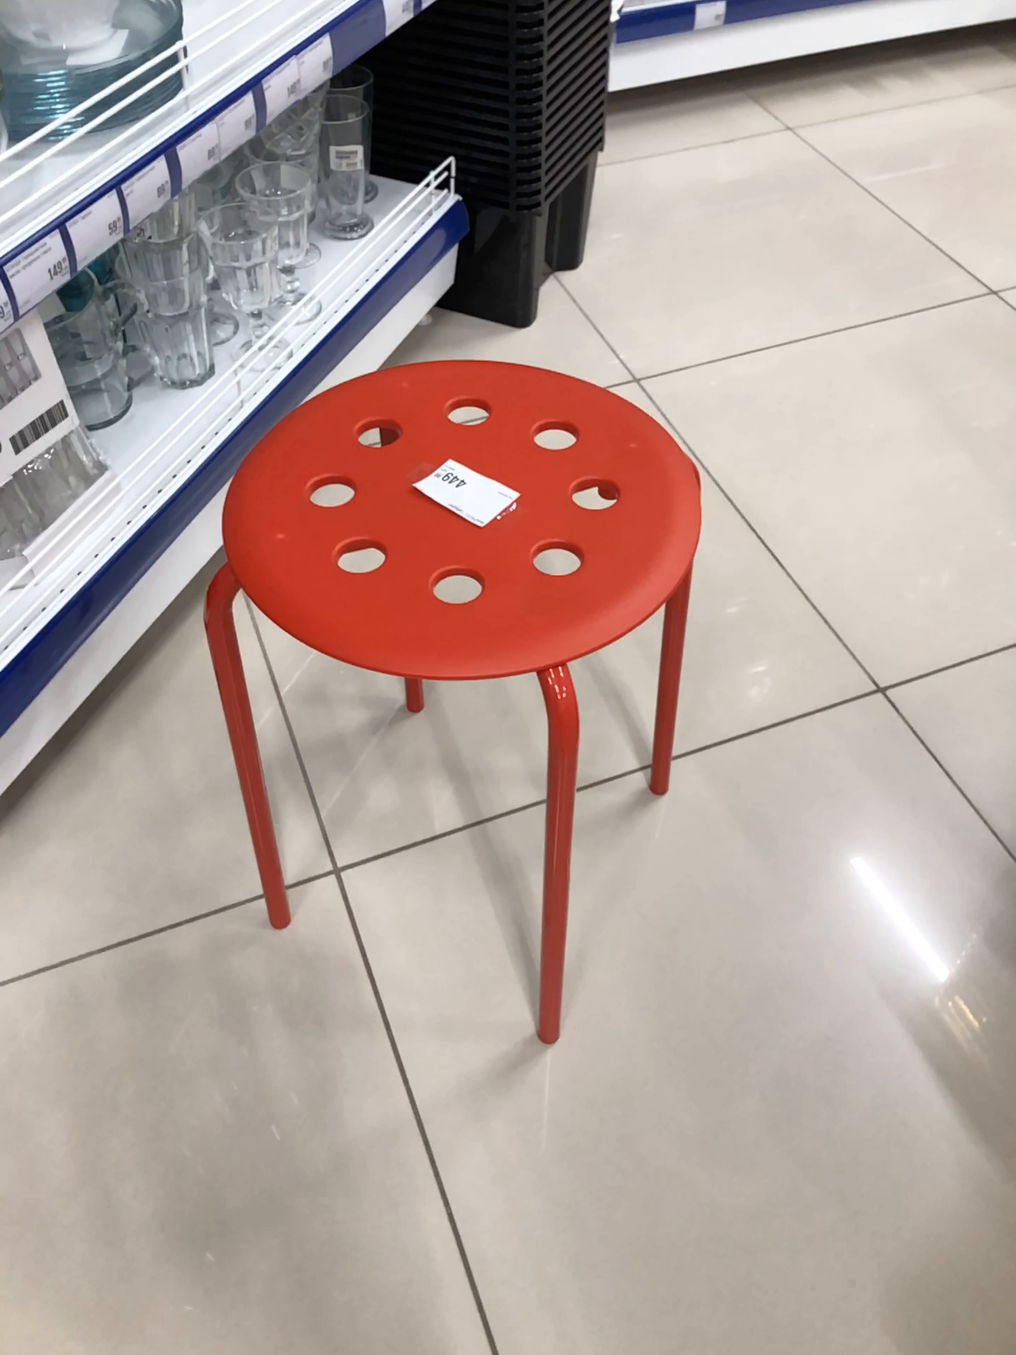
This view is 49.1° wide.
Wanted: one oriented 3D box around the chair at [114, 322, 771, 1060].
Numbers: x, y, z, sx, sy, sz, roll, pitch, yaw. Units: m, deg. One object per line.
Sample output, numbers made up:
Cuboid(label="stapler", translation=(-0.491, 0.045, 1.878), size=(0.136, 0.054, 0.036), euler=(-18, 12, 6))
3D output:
Cuboid(label="chair", translation=(-0.027, 0.015, 0.876), size=(0.320, 0.404, 0.315), euler=(19, 52, 16))
